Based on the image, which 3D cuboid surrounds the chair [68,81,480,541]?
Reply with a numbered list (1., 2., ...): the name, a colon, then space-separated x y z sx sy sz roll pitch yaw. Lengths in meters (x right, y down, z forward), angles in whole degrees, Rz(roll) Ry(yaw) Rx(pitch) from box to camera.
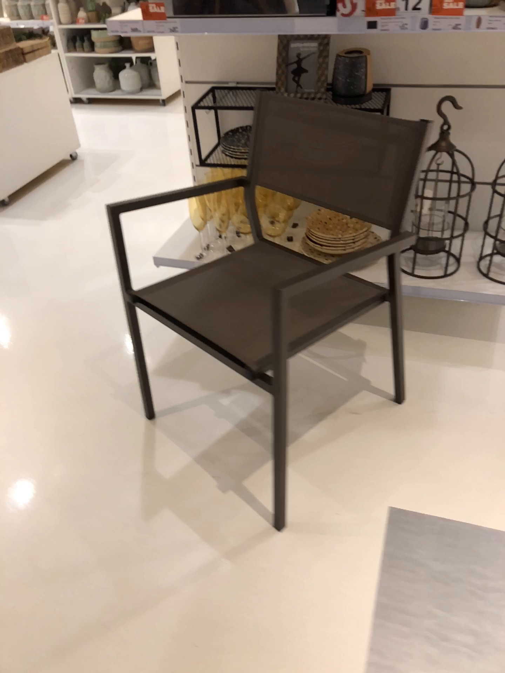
1. chair: 0.059 -0.102 1.324 0.582 0.764 0.572 -32 45 -32
